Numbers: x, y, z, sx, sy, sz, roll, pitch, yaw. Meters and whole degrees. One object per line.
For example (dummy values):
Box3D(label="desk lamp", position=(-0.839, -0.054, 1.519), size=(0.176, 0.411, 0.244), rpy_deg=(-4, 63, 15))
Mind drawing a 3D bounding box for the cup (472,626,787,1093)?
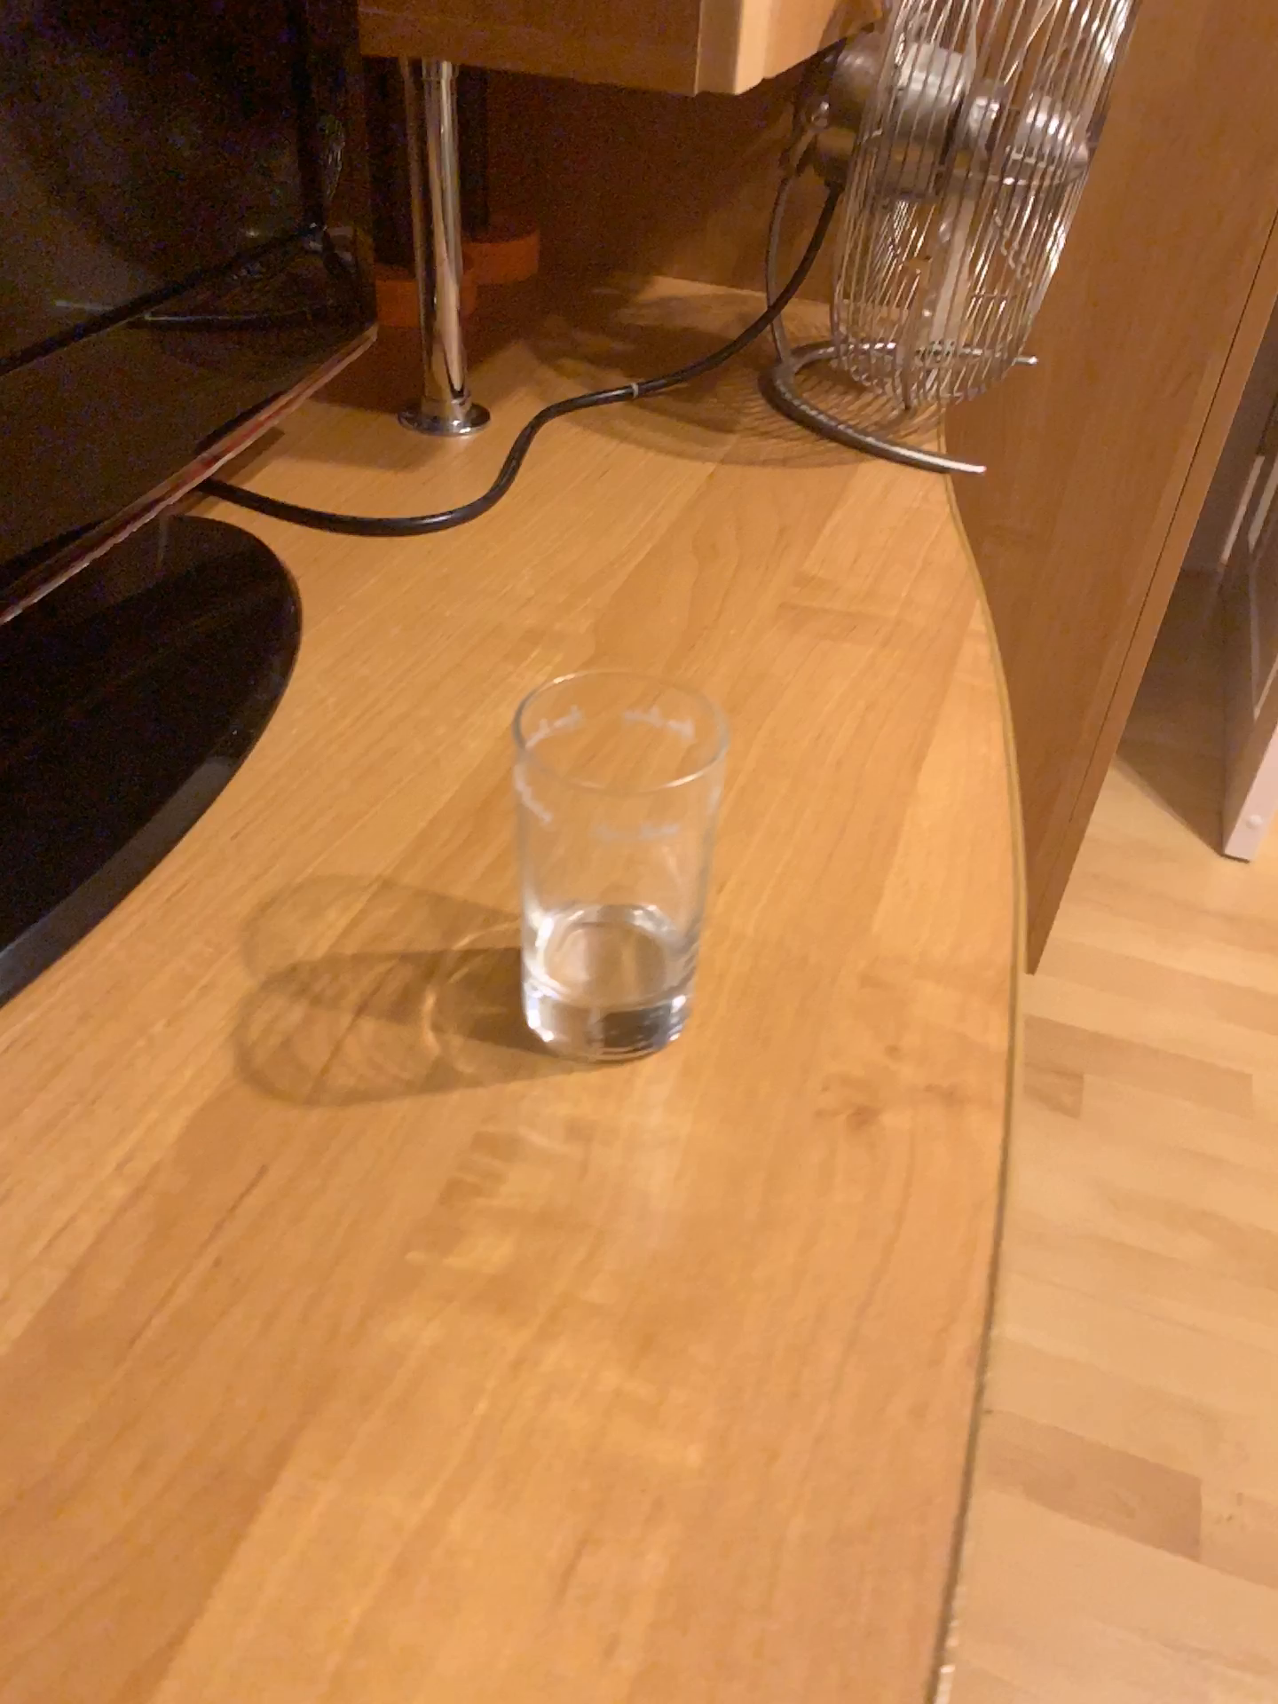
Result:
Box3D(label="cup", position=(-0.006, 0.002, 0.348), size=(0.060, 0.099, 0.060), rpy_deg=(2, 39, -2))
